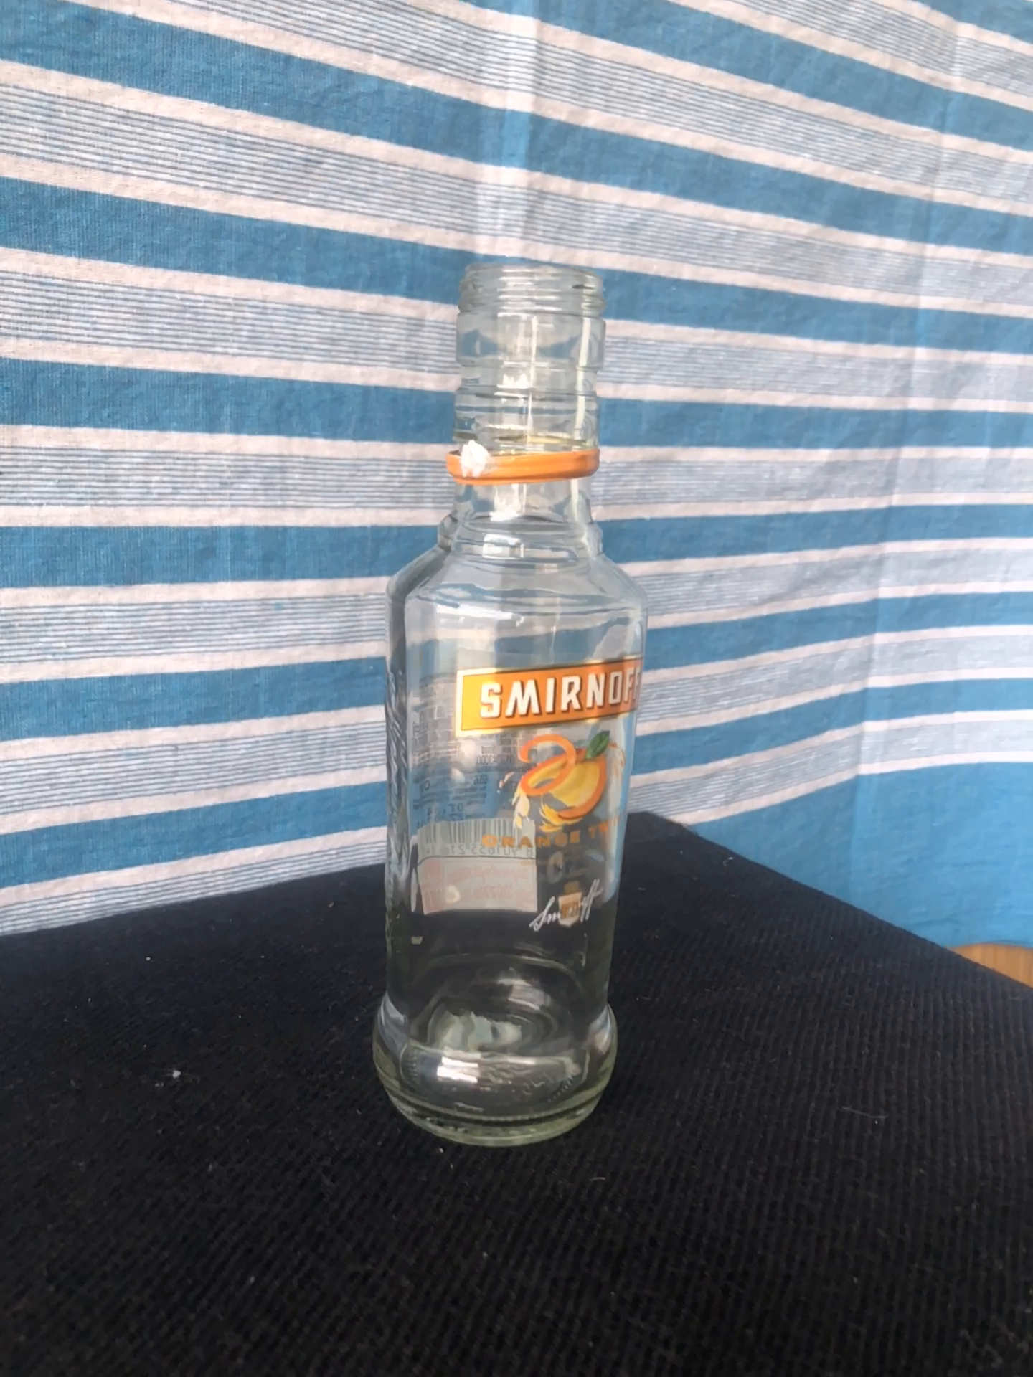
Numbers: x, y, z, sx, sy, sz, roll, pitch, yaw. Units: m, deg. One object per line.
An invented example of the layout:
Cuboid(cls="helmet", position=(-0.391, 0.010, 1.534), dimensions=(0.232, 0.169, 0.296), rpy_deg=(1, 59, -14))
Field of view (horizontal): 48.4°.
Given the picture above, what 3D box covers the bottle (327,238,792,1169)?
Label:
Cuboid(cls="bottle", position=(0.003, 0.004, 0.236), dimensions=(0.060, 0.169, 0.050), rpy_deg=(0, 15, -24))
